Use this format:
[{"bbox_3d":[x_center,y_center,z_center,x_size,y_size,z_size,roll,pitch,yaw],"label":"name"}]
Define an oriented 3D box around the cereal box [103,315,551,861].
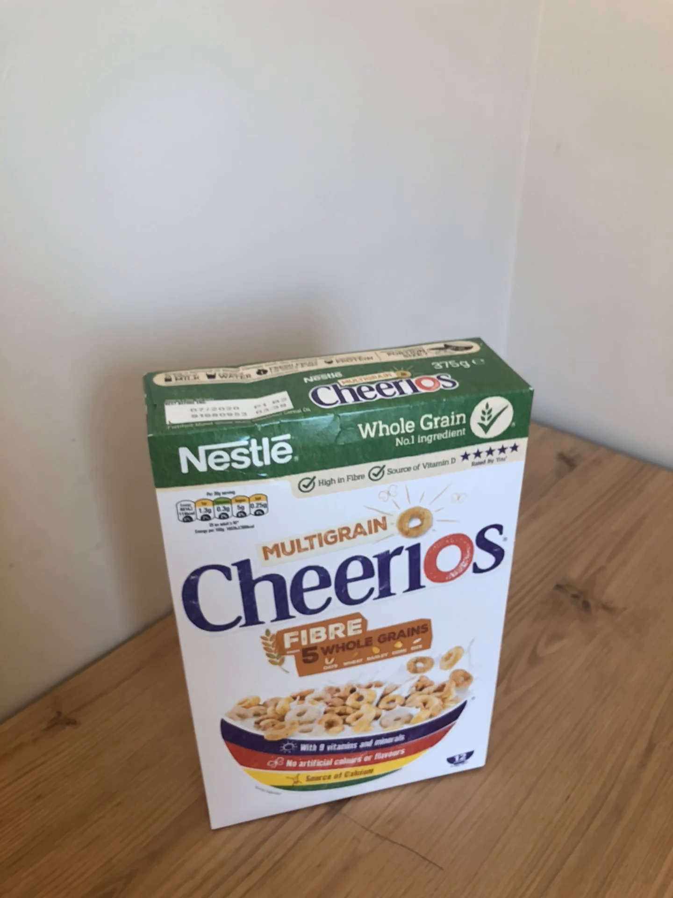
[{"bbox_3d":[-0.006,0.091,0.452,0.210,0.308,0.080,-8,31,-12],"label":"cereal box"}]
